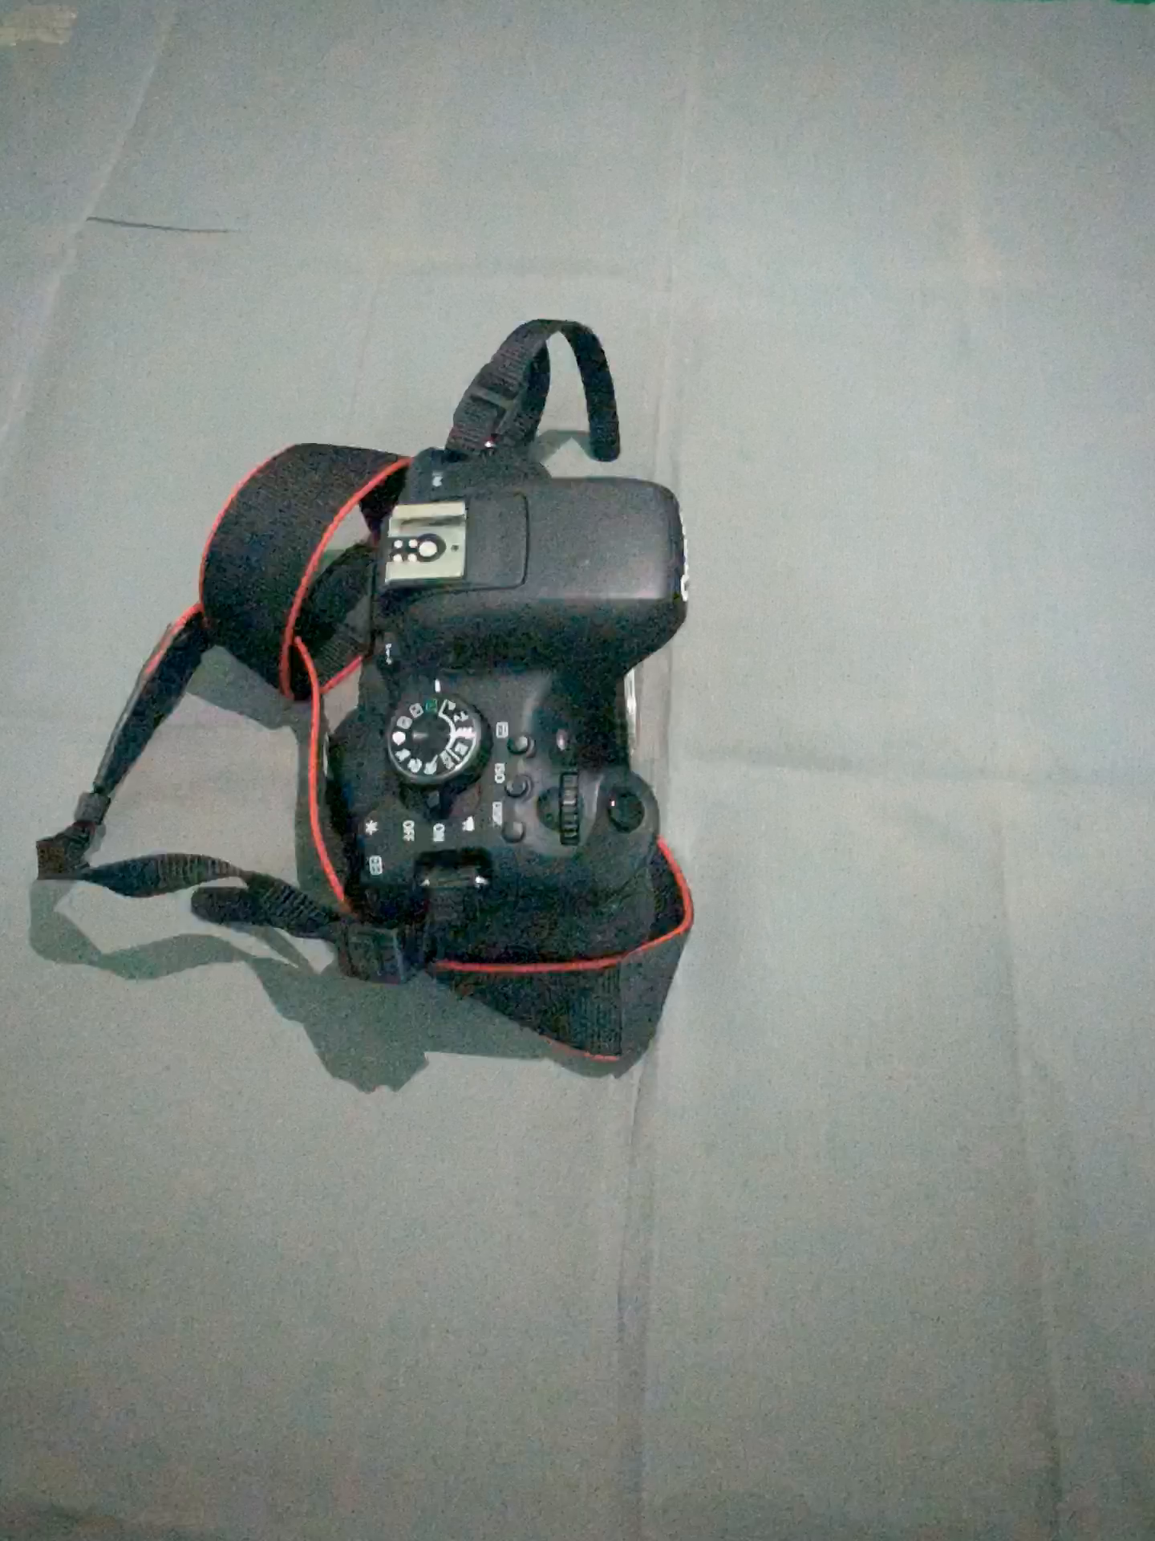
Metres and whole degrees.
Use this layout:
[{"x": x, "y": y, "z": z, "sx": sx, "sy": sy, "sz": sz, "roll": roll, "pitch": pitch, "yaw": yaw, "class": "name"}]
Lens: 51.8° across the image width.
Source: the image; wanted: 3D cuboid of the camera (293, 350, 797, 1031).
[{"x": -0.004, "y": -0.017, "z": 0.282, "sx": 0.090, "sy": 0.088, "sz": 0.133, "roll": 1, "pitch": 62, "yaw": 1, "class": "camera"}]
